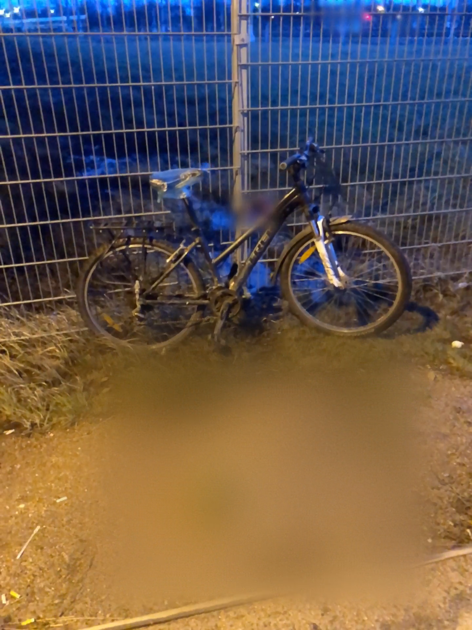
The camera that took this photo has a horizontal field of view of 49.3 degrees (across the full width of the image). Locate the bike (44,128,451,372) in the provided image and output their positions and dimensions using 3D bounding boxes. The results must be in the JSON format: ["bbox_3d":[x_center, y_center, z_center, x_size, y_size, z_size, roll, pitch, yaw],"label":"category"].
[{"bbox_3d":[0.018,-0.308,2.473,1.583,0.947,0.573,-2,28,2],"label":"bike"}]
